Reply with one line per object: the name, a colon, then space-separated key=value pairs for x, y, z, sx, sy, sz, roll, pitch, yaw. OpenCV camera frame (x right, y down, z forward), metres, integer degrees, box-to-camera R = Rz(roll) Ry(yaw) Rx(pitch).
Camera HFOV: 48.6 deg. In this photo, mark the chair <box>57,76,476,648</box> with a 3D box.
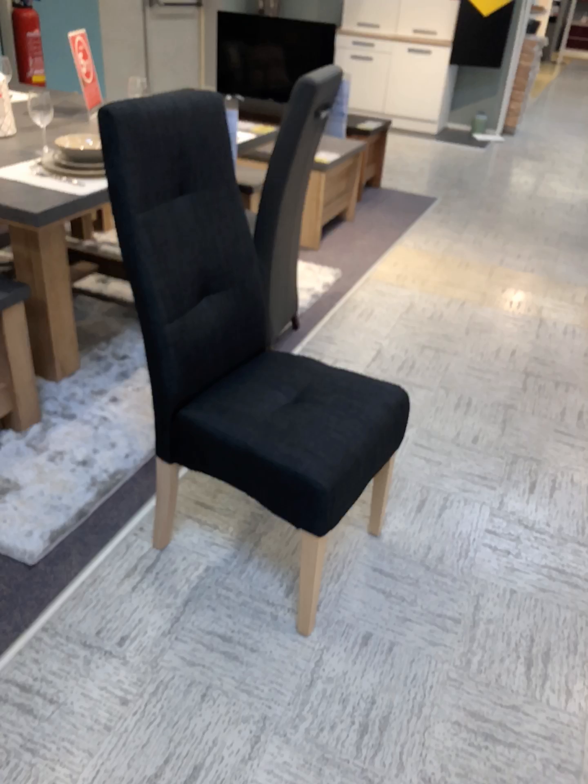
chair: x=-0.066 y=-0.077 z=1.458 sx=0.600 sy=1.044 sz=0.483 roll=20 pitch=34 yaw=22
